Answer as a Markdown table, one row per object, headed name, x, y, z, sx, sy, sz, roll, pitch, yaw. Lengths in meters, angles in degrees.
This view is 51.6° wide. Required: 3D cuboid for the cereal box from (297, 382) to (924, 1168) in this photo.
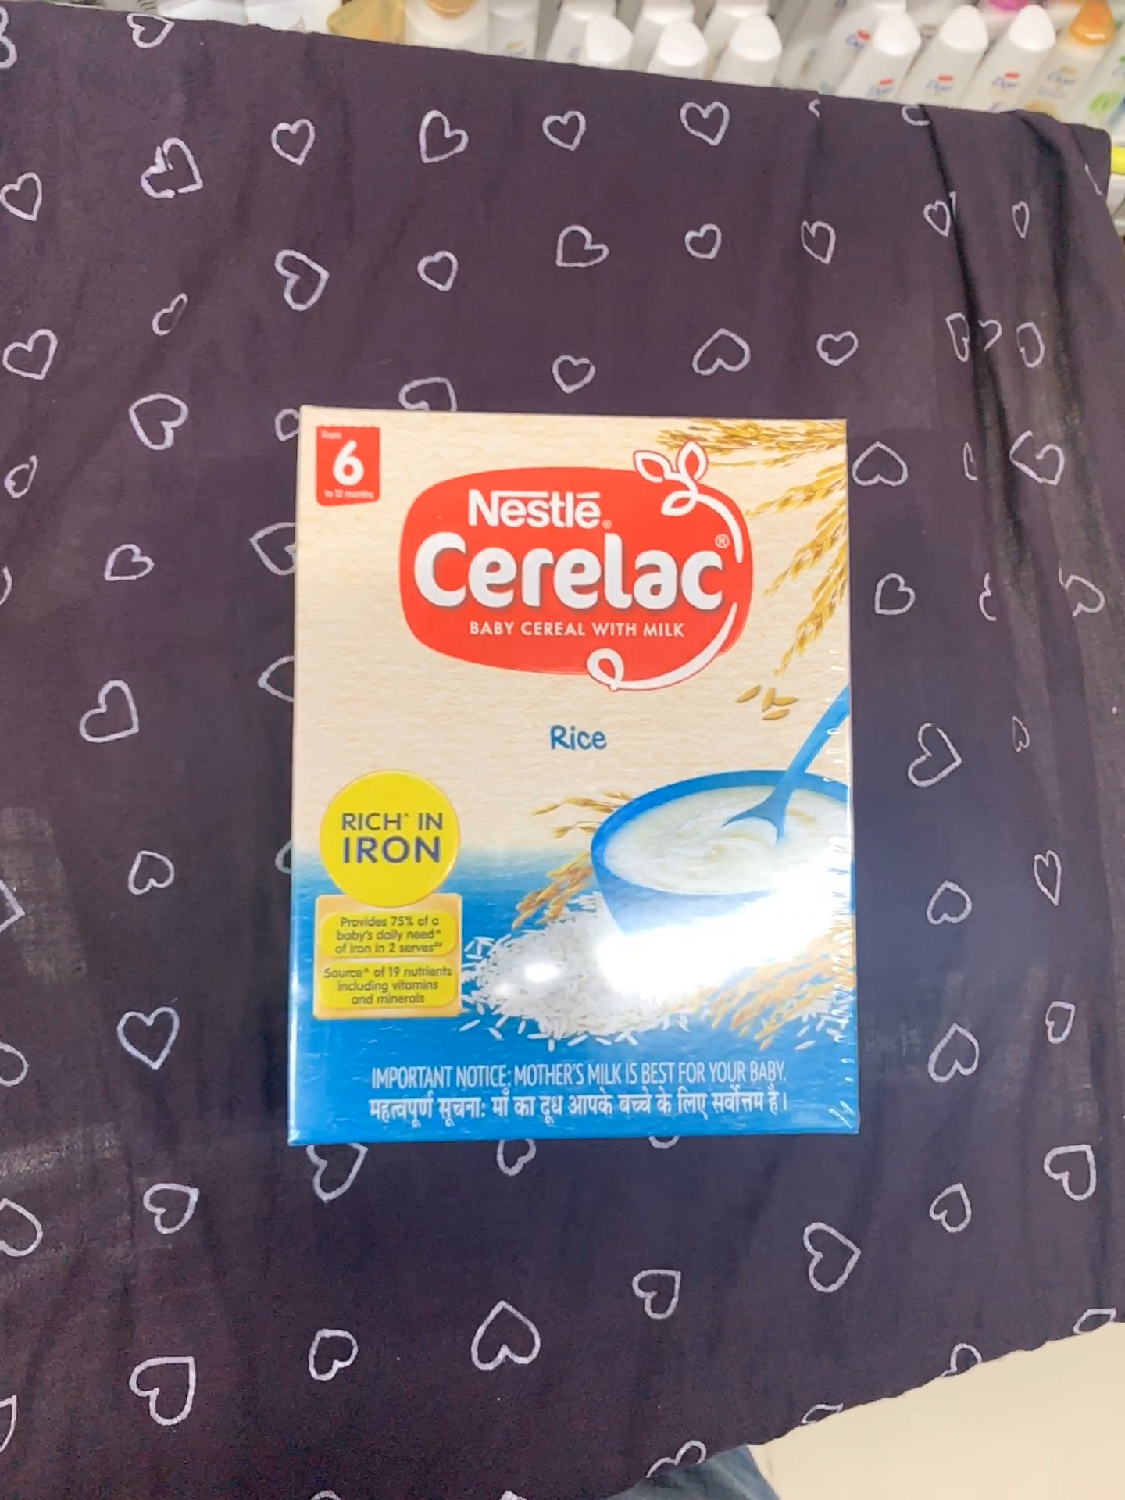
| name | x | y | z | sx | sy | sz | roll | pitch | yaw |
| --- | --- | --- | --- | --- | --- | --- | --- | --- | --- |
| cereal box | 0.011 | 0.005 | 0.323 | 0.160 | 0.040 | 0.200 | 0 | 85 | -6 |
